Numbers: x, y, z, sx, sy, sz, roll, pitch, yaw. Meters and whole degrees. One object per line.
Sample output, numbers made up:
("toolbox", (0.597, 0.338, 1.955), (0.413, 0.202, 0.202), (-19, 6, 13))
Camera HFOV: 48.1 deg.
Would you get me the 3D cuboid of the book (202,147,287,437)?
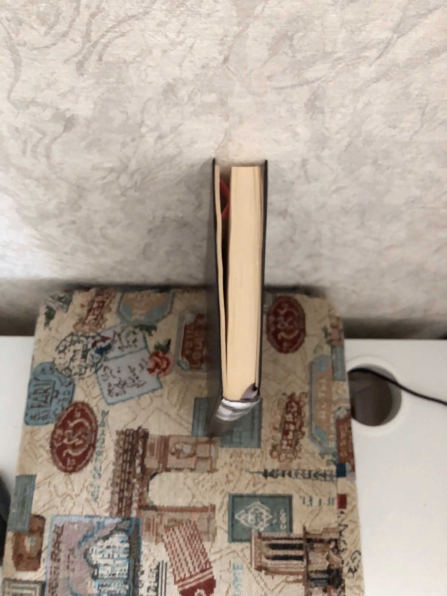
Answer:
("book", (0.008, 0.018, 0.340), (0.035, 0.201, 0.137), (4, 72, -1))
